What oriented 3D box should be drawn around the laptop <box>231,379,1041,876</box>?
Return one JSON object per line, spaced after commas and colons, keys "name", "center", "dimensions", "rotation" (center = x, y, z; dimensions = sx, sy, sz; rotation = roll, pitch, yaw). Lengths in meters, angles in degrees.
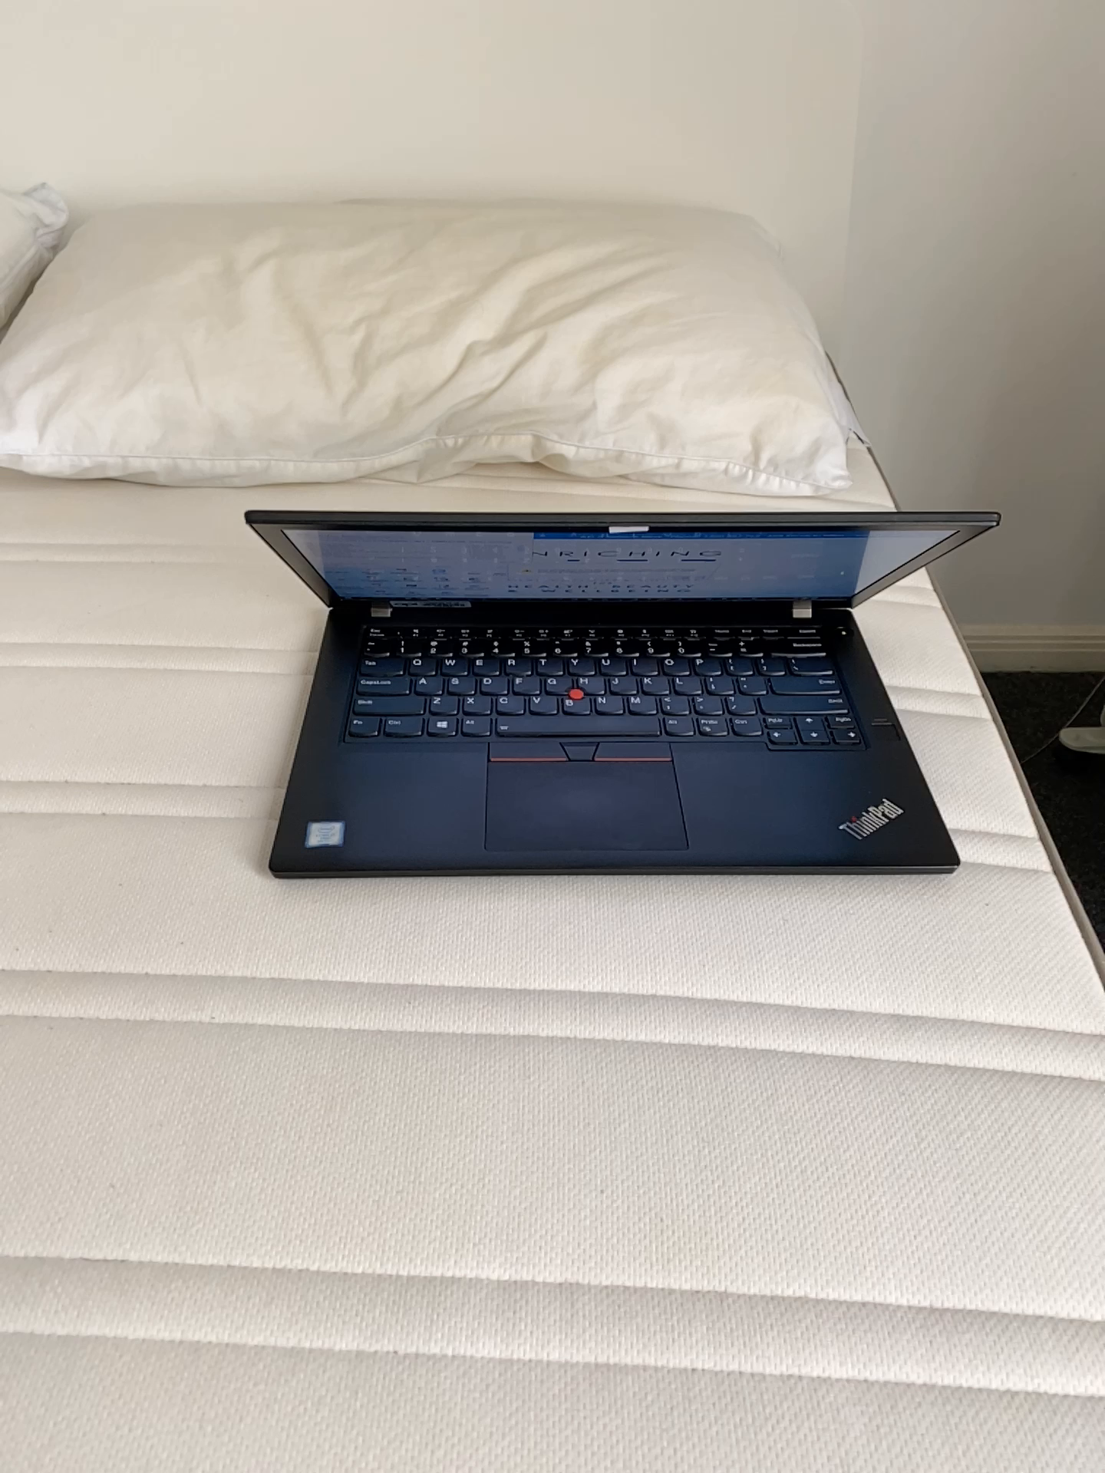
{"name": "laptop", "center": [0.032, -0.066, 0.580], "dimensions": [0.324, 0.150, 0.221], "rotation": [-1, 39, -2]}
